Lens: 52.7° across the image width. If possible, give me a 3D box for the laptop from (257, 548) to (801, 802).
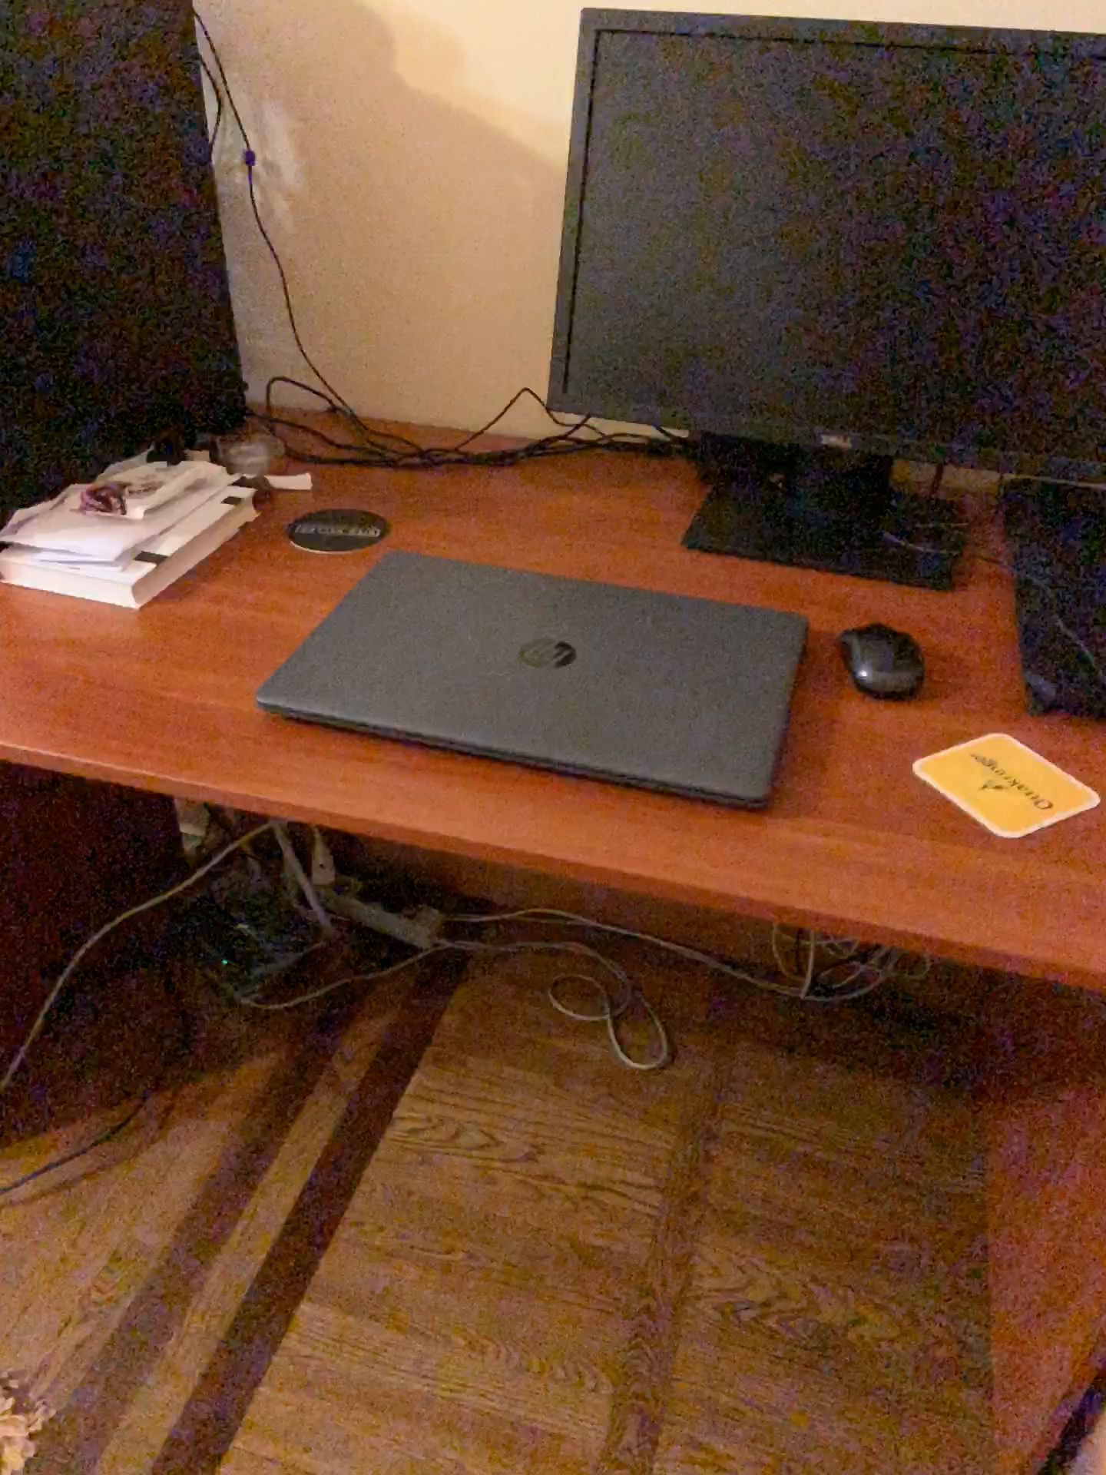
[{"bbox_3d":[-0.006,-0.064,0.867,0.368,0.005,0.248,11,37,14],"label":"laptop"}]
